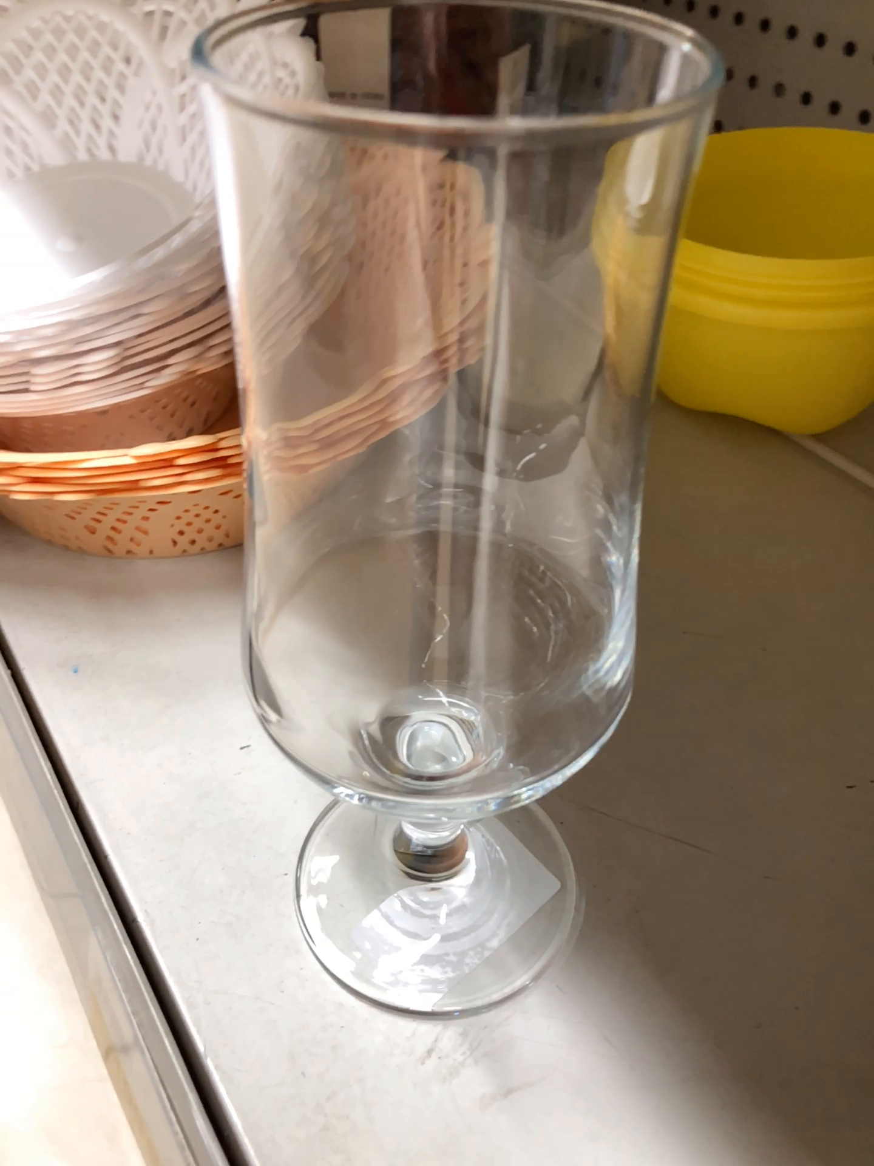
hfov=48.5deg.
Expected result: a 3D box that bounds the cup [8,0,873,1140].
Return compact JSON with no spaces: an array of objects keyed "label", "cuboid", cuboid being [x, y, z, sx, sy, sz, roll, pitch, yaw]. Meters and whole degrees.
[{"label":"cup","cuboid":[0.001,0.007,0.182,0.078,0.194,0.075,1,41,-1]}]
